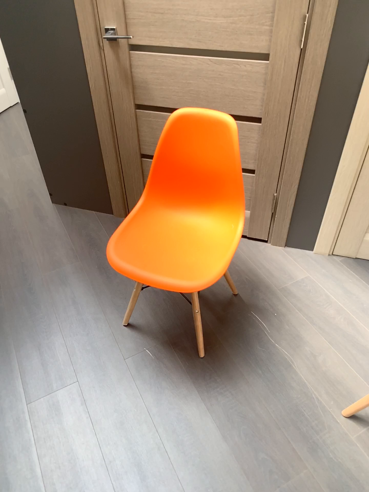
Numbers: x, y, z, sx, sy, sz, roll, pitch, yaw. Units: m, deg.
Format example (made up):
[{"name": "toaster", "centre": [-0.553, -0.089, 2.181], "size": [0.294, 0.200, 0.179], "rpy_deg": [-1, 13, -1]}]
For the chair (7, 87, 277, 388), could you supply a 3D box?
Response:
[{"name": "chair", "centre": [-0.074, -0.037, 1.229], "size": [0.531, 0.717, 0.522], "rpy_deg": [16, 45, 18]}]
